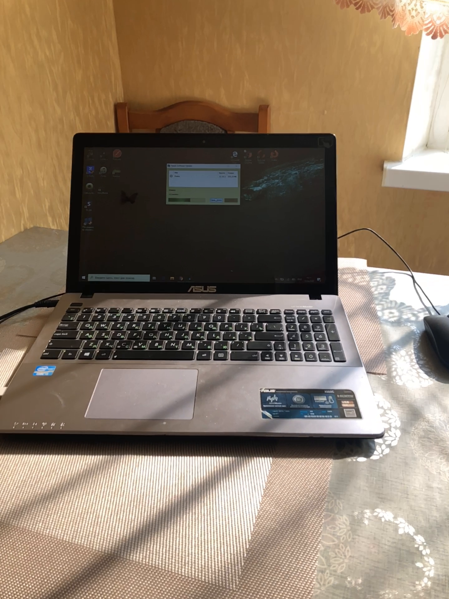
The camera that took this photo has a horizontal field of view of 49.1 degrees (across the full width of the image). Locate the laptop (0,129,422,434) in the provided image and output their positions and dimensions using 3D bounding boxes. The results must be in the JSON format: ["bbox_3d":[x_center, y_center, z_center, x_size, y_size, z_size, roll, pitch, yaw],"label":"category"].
[{"bbox_3d":[-0.033,-0.061,0.589,0.378,0.183,0.399,0,32,1],"label":"laptop"}]
